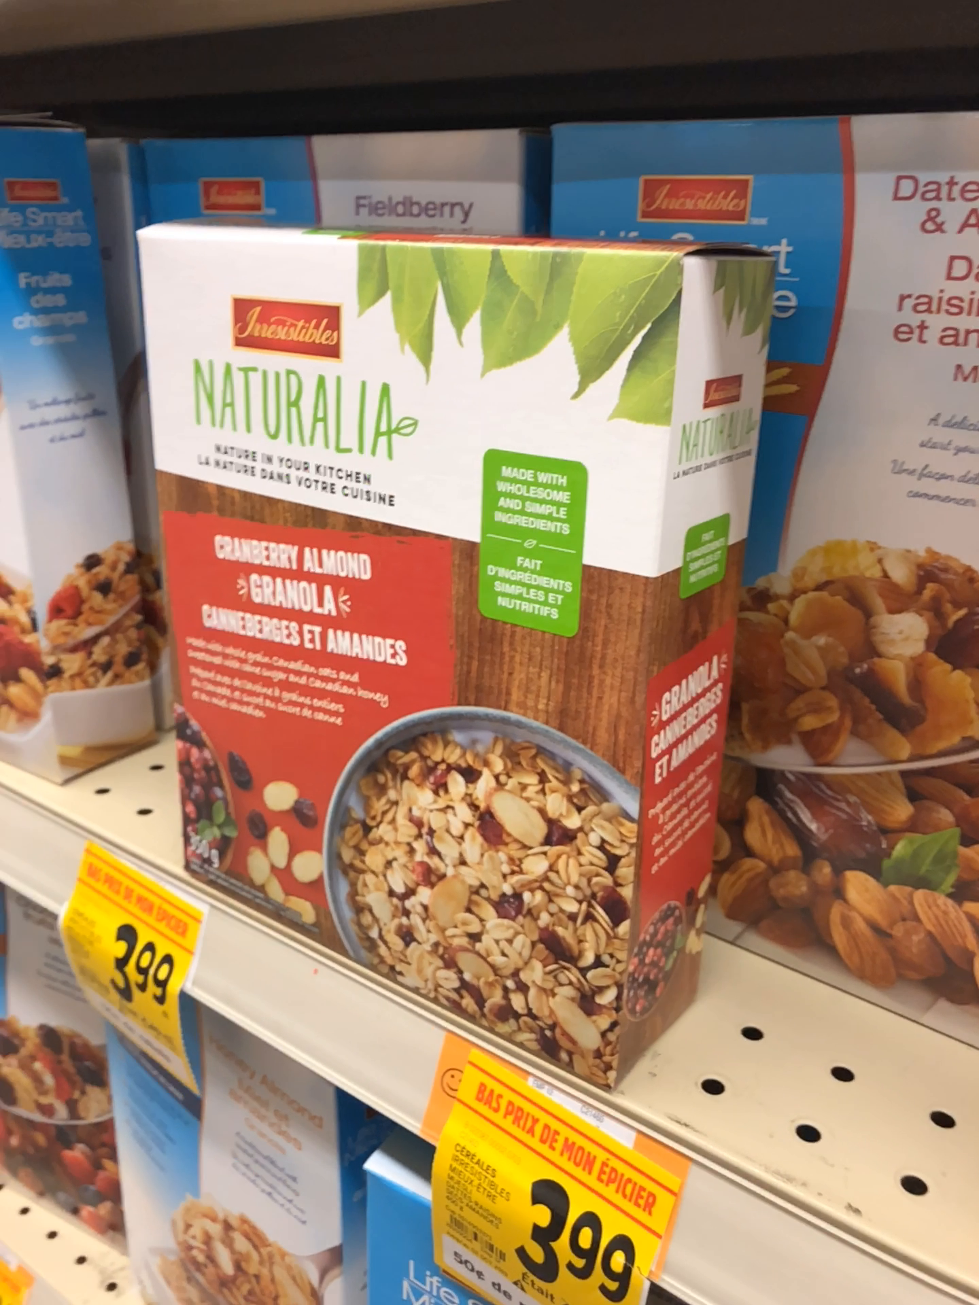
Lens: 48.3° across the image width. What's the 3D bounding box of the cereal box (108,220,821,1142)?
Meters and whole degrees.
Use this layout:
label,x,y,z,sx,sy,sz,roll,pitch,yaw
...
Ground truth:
label,x,y,z,sx,sy,sz,roll,pitch,yaw
cereal box,-0.015,-0.005,0.300,0.170,0.209,0.060,16,26,33
